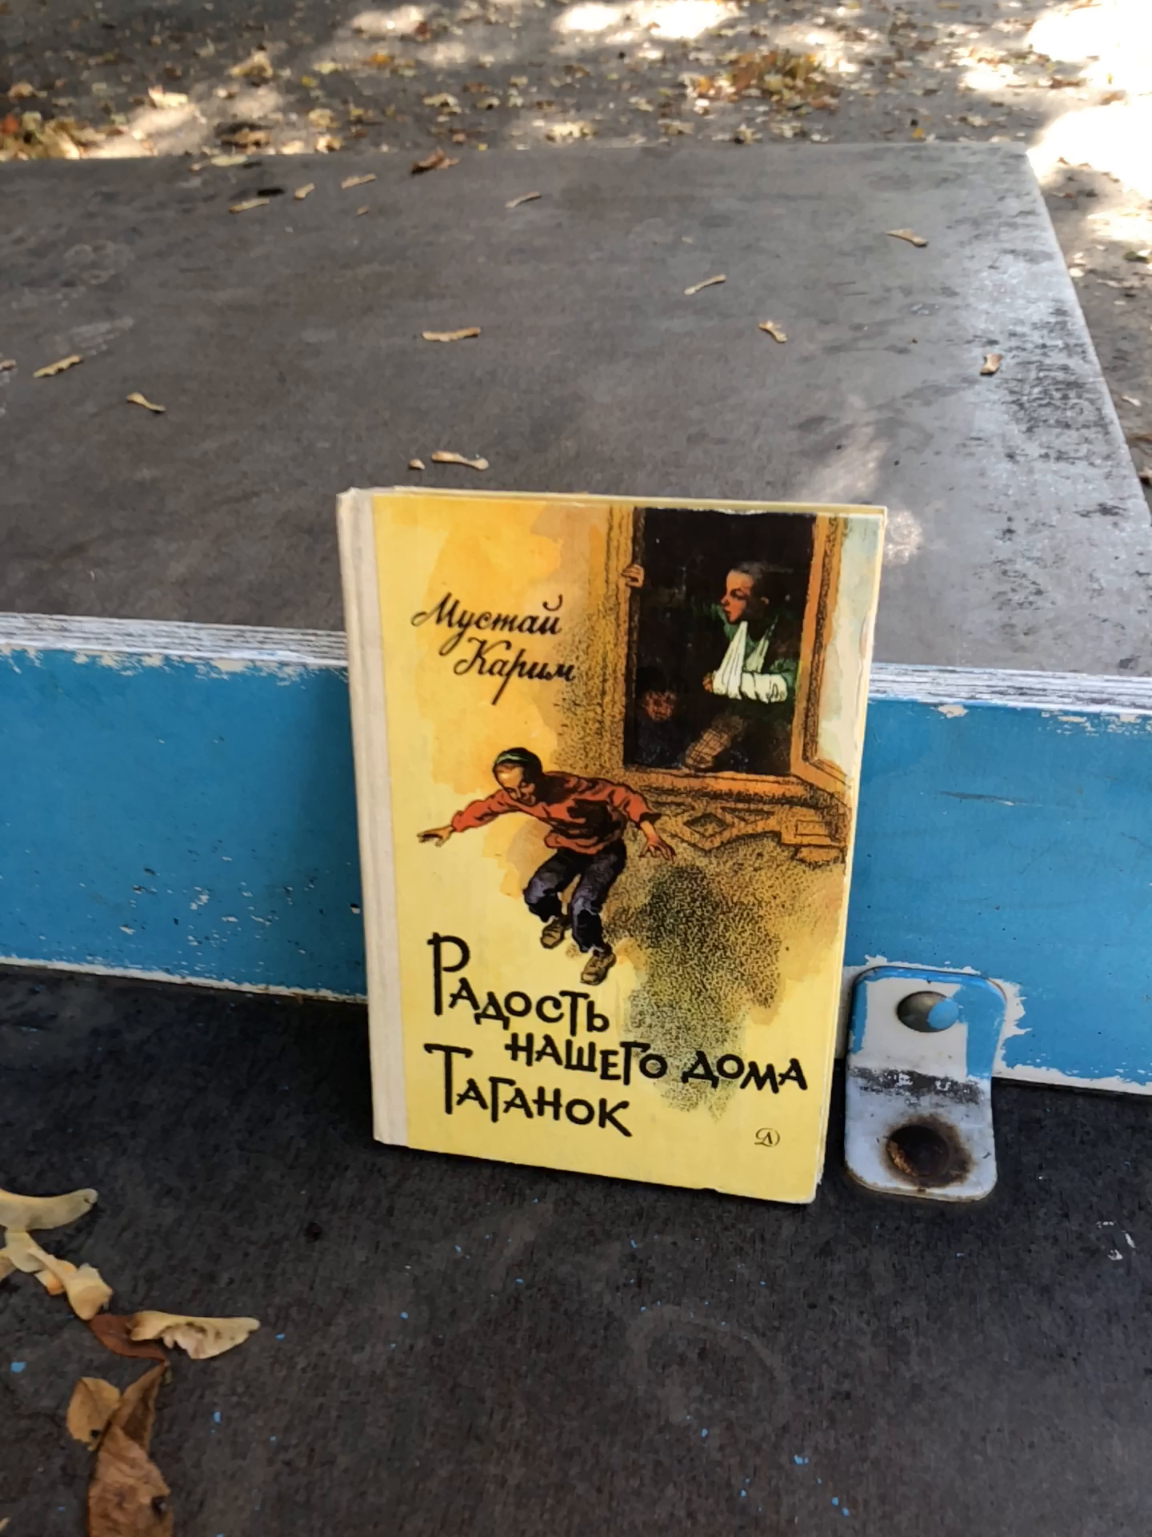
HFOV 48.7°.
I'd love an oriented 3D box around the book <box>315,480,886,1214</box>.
[{"bbox_3d":[0.004,0.027,0.385,0.155,0.218,0.020,4,20,11],"label":"book"}]
